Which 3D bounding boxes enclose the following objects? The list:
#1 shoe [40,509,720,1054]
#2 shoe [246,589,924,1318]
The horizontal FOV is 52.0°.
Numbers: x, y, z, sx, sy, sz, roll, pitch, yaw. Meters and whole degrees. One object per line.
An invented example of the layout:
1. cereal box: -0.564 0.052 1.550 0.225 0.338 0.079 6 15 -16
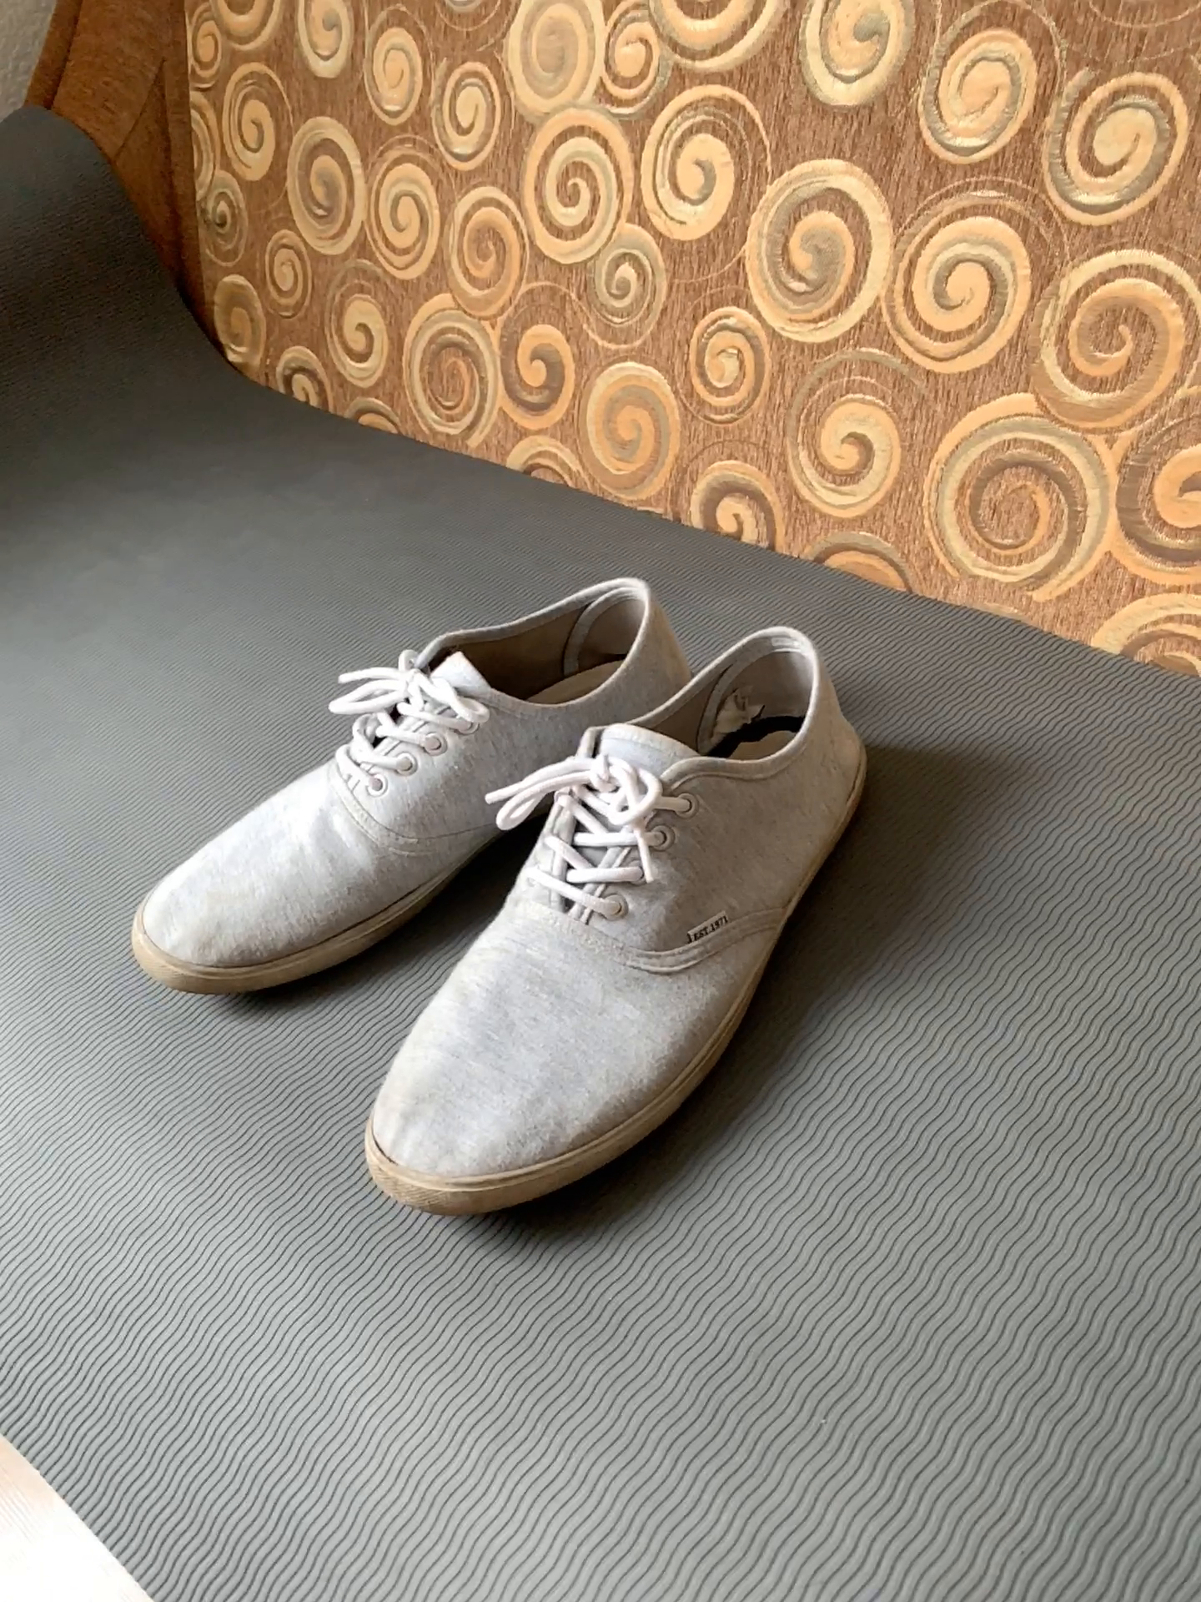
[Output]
1. shoe: -0.088 -0.020 0.538 0.260 0.080 0.111 -31 46 -18
2. shoe: 0.012 0.036 0.459 0.110 0.080 0.260 21 52 31
